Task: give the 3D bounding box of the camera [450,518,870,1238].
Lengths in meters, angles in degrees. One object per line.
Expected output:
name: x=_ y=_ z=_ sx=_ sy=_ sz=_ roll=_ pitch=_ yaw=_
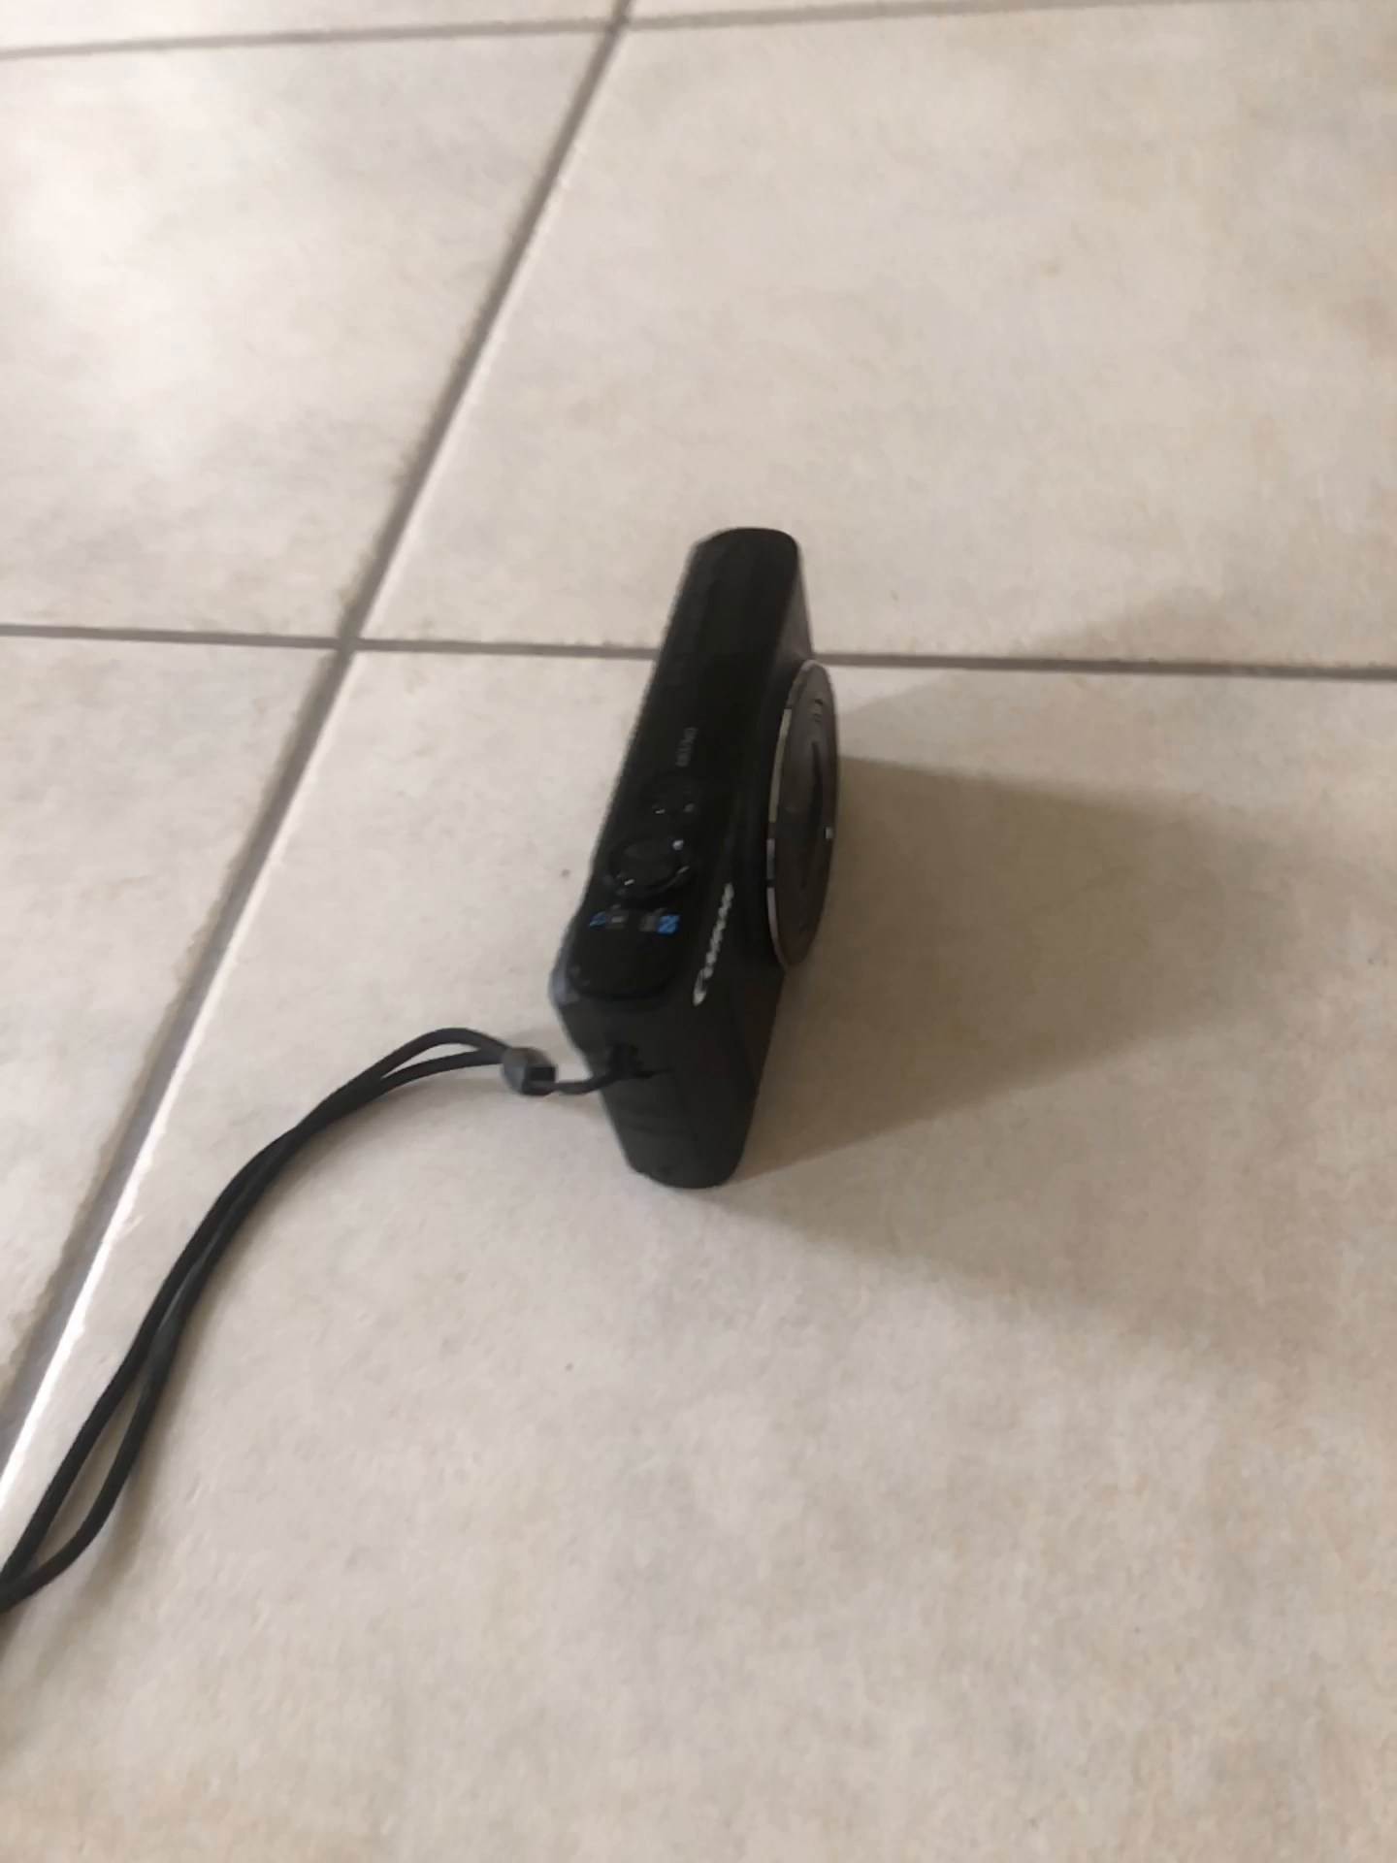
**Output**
camera: x=0.000 y=-0.012 z=0.273 sx=0.040 sy=0.060 sz=0.111 roll=6 pitch=56 yaw=14
